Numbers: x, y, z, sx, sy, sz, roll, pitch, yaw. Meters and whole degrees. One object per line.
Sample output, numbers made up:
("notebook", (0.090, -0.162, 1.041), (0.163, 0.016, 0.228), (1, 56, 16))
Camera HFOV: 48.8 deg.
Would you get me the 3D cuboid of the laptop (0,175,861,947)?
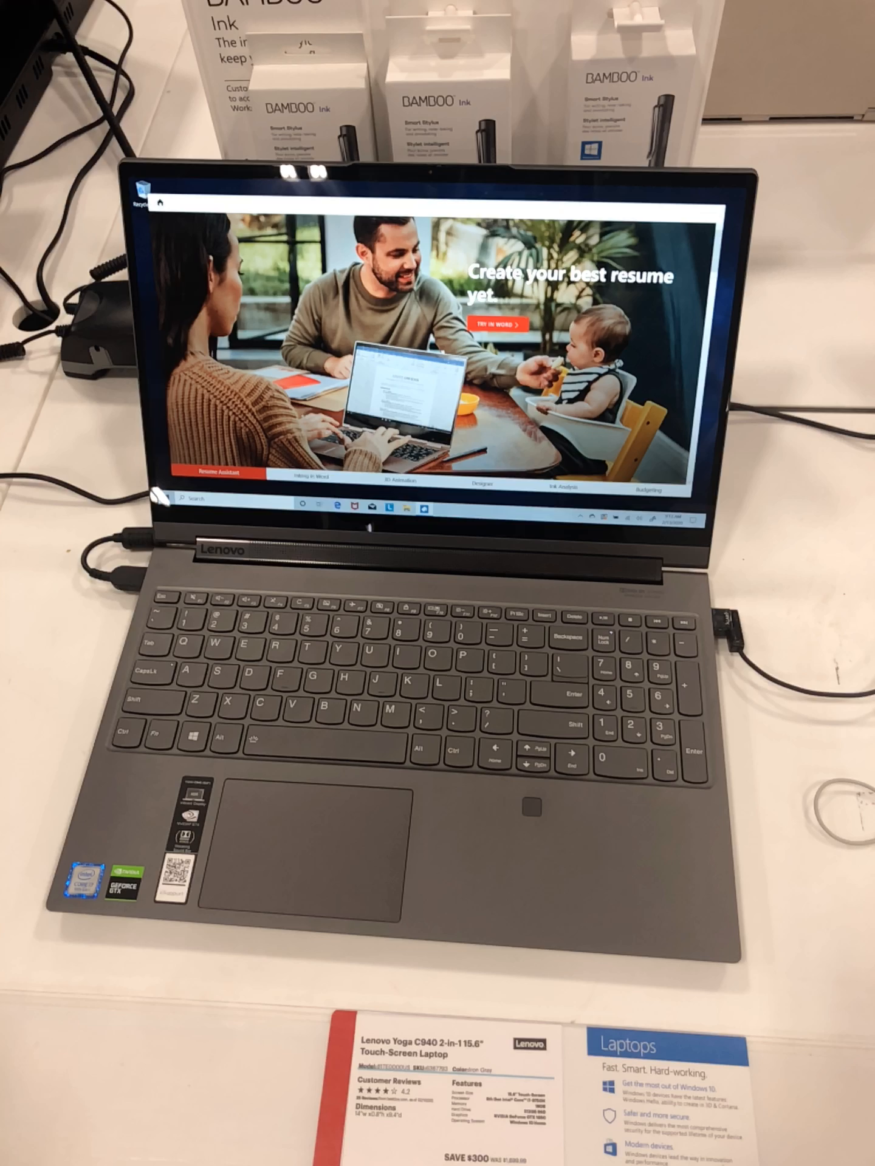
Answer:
("laptop", (-0.011, -0.027, 0.516), (0.345, 0.189, 0.368), (2, 55, 4))
